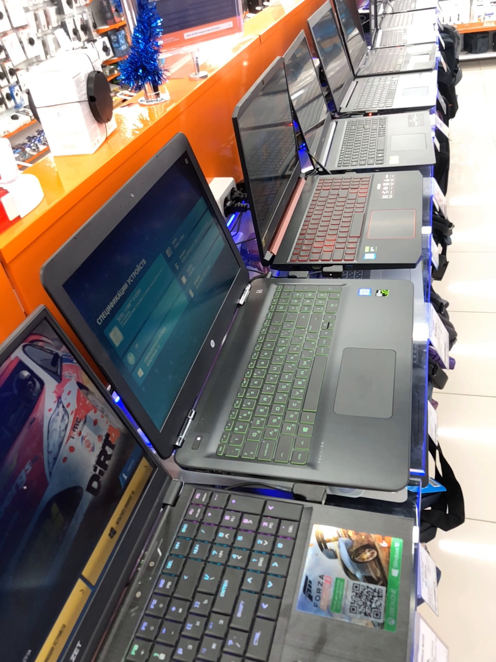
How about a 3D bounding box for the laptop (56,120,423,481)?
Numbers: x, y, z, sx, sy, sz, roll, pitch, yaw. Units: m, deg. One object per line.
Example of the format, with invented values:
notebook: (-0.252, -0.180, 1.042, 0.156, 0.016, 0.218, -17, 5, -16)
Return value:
laptop: (0.038, -0.061, 0.644, 0.311, 0.235, 0.359, 2, 37, 16)
